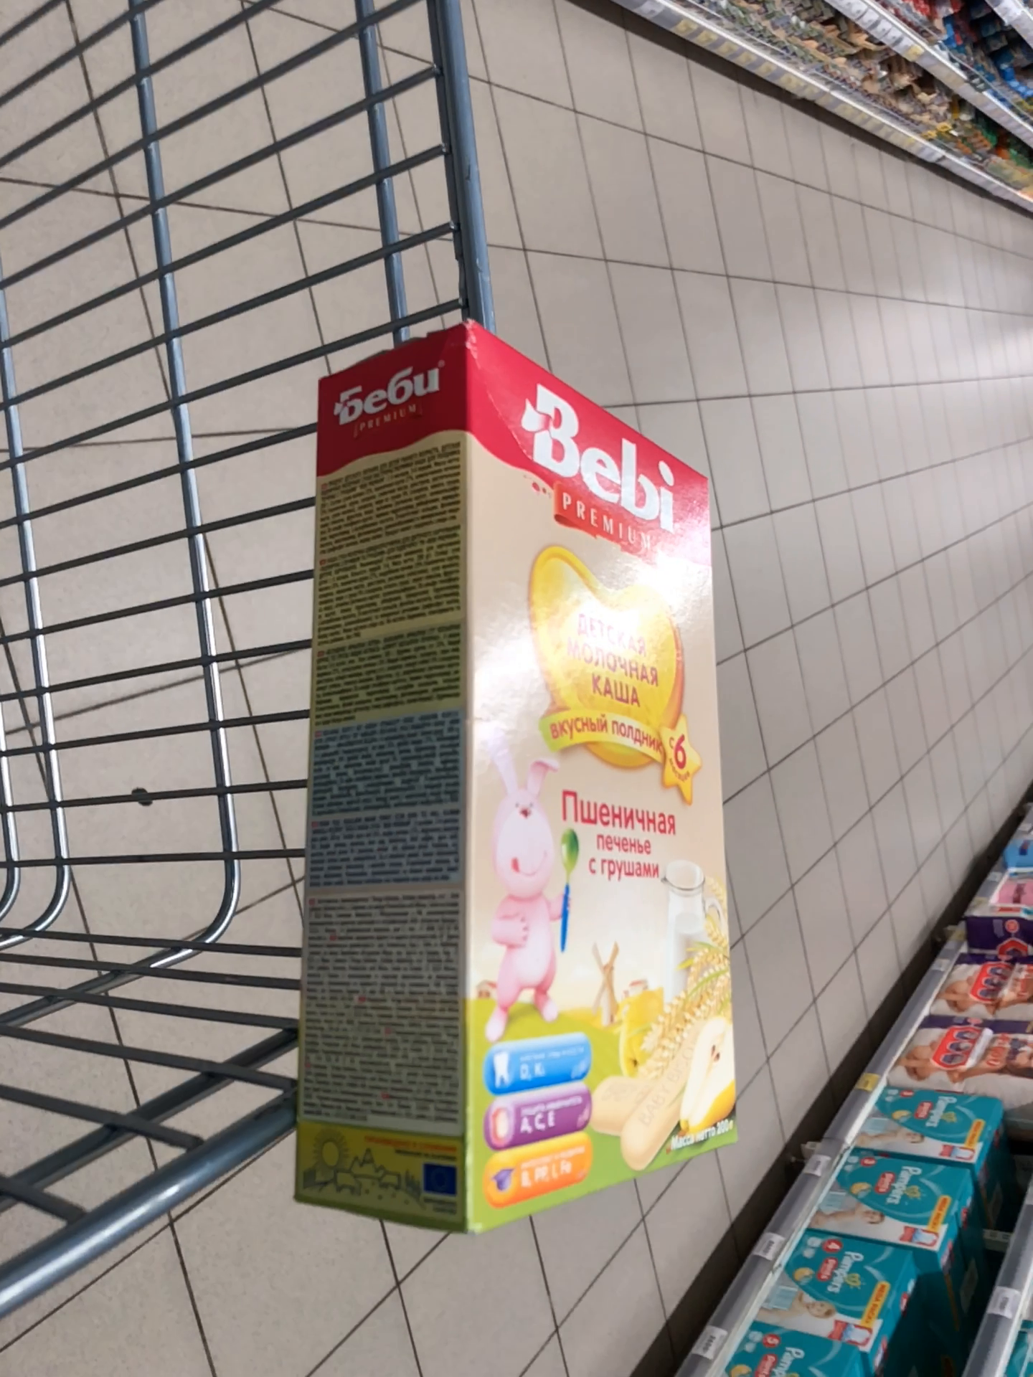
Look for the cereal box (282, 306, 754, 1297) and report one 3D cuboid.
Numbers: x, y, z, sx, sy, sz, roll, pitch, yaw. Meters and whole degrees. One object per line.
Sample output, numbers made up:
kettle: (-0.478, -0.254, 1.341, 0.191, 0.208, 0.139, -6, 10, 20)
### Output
cereal box: (0.007, 0.028, 0.306, 0.131, 0.050, 0.210, 16, 70, -52)
